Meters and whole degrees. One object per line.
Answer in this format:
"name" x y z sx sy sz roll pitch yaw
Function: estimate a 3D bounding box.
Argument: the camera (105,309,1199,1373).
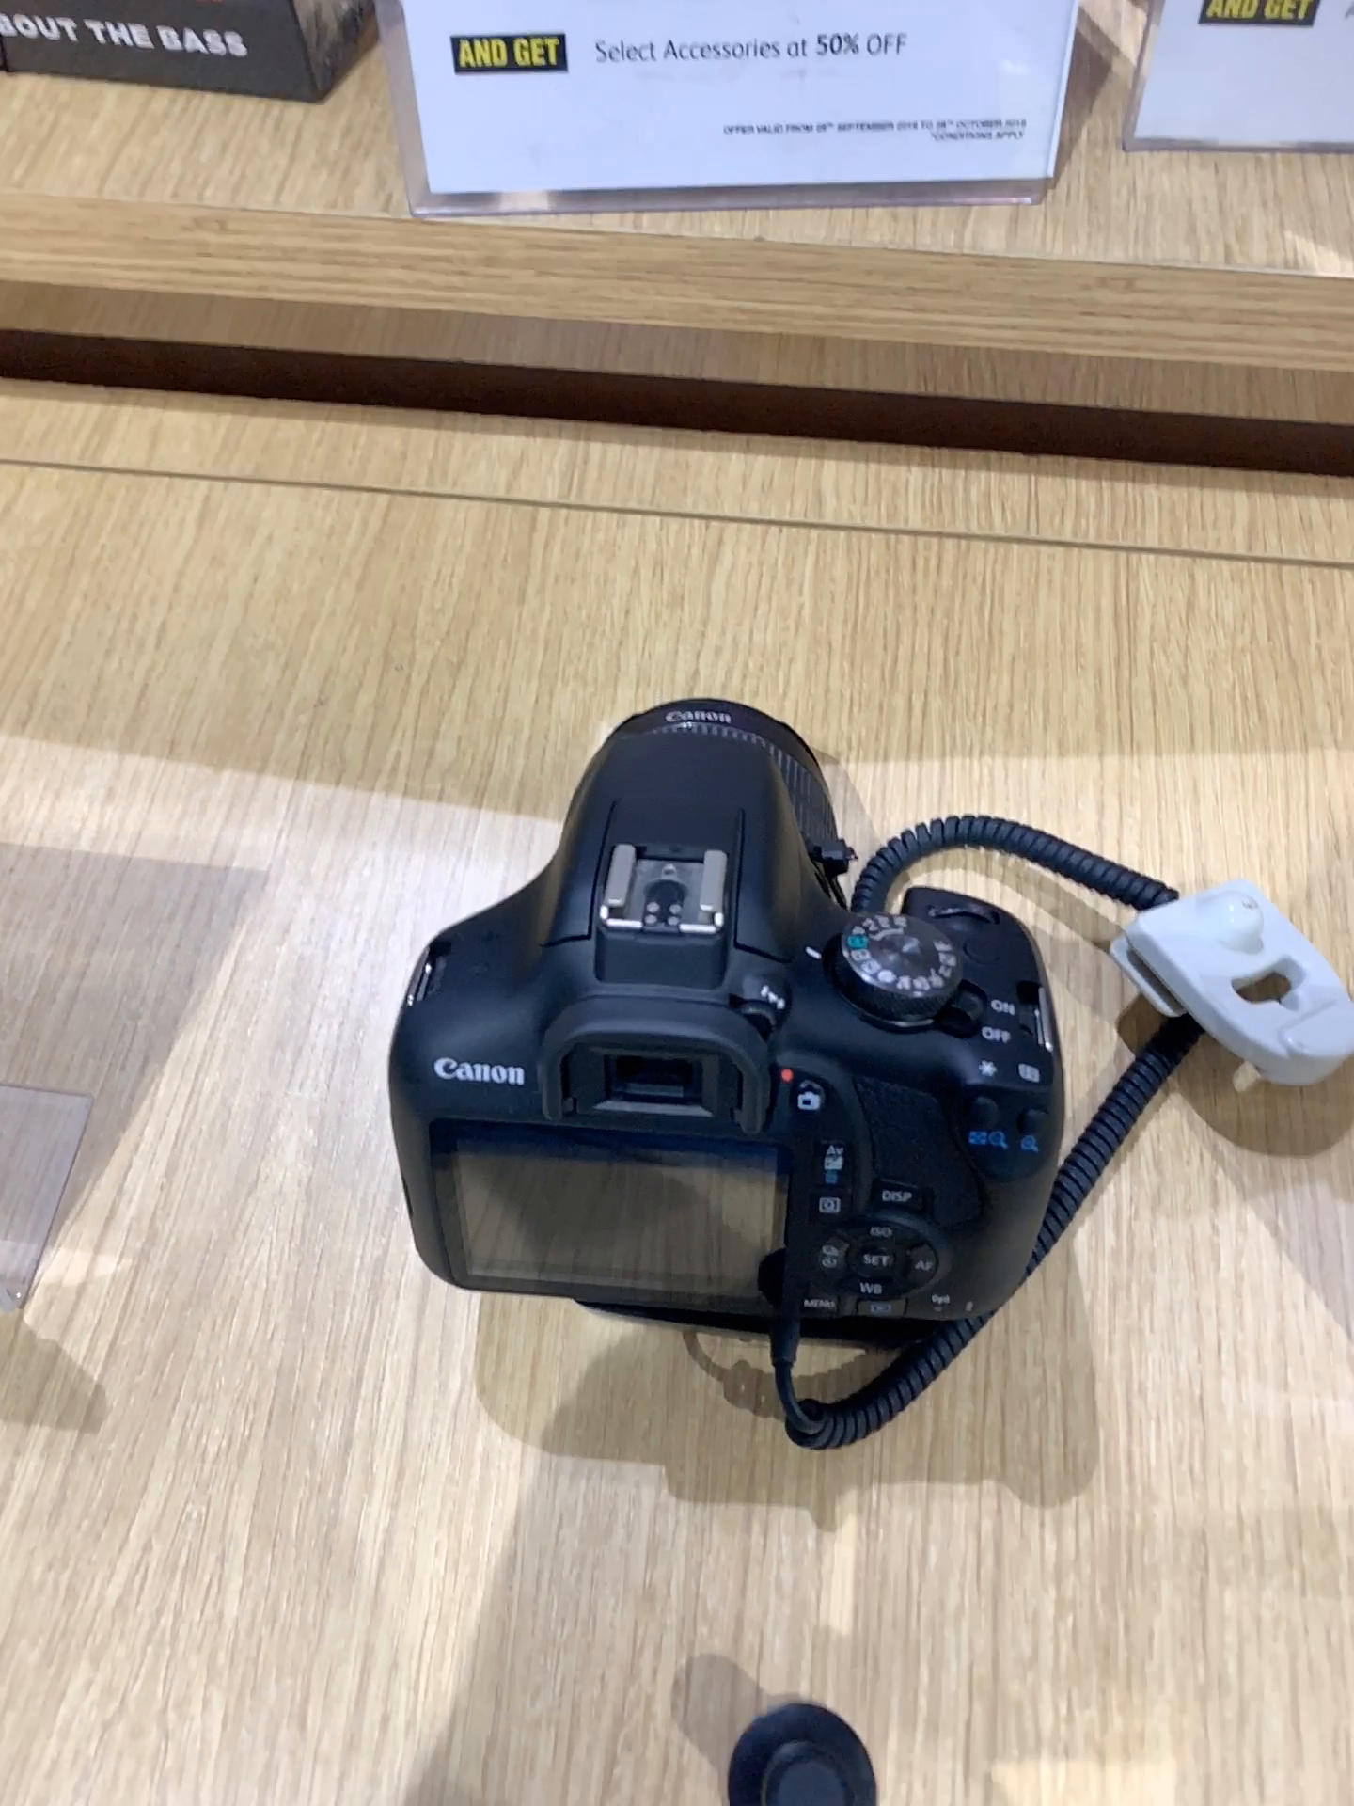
"camera" 0.003 -0.009 0.263 0.140 0.110 0.160 3 62 3
